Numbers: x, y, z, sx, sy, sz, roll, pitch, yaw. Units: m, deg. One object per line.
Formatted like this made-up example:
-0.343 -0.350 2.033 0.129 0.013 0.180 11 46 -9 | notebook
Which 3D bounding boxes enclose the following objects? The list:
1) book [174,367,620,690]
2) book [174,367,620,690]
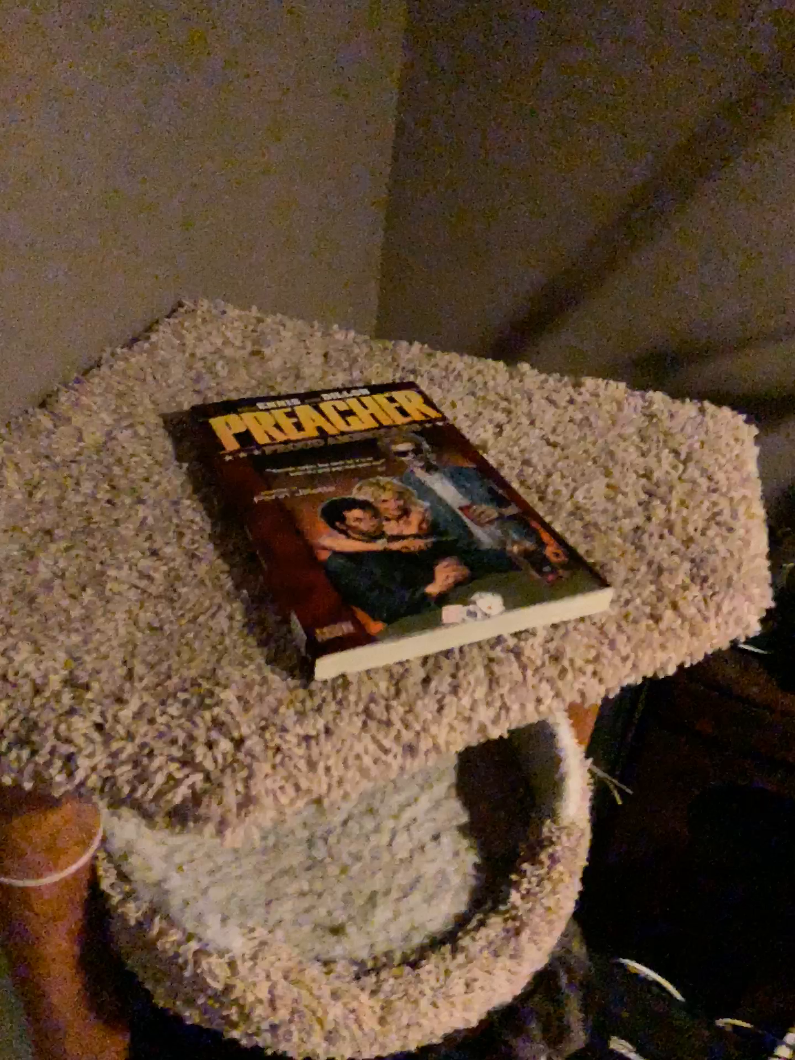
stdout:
-0.017 -0.024 0.532 0.170 0.020 0.270 -11 39 -24 | book
-0.017 -0.024 0.532 0.170 0.020 0.270 -11 39 -24 | book
